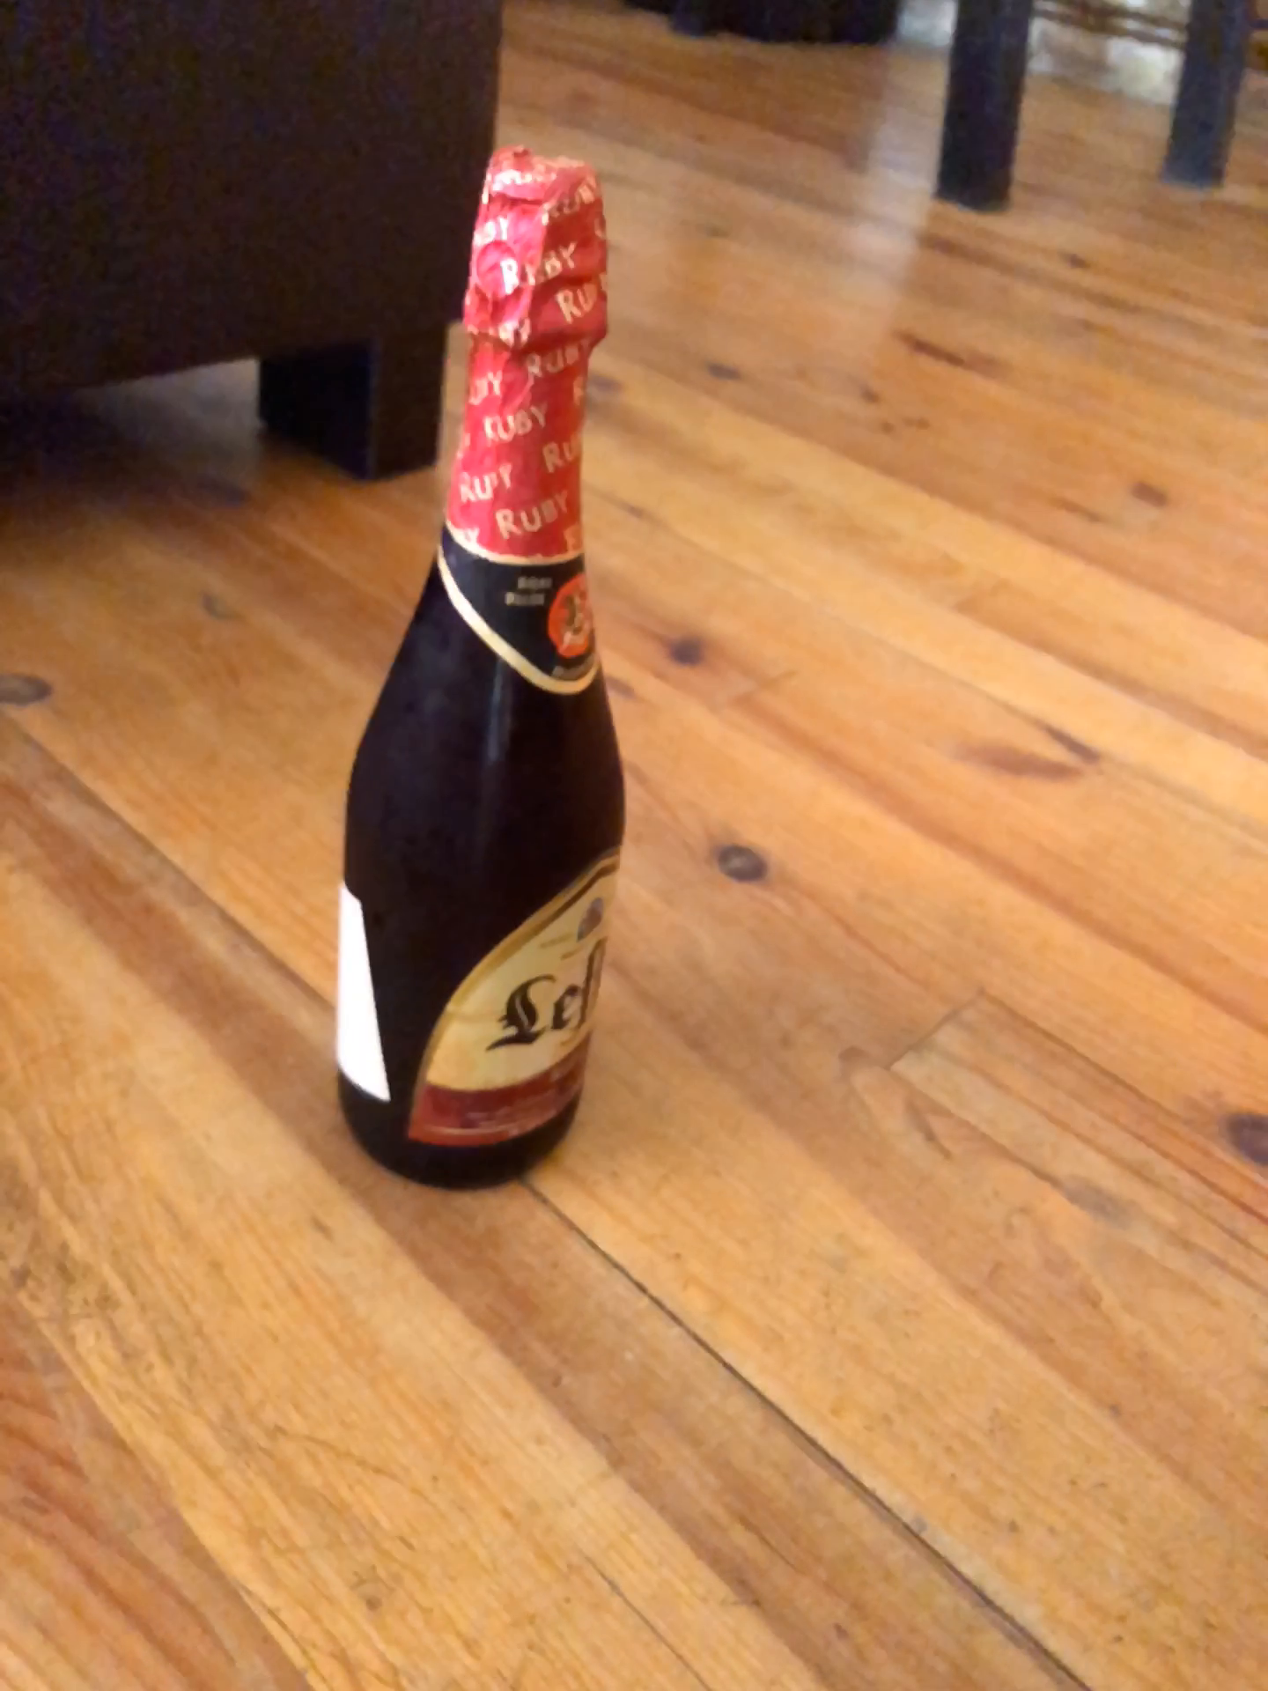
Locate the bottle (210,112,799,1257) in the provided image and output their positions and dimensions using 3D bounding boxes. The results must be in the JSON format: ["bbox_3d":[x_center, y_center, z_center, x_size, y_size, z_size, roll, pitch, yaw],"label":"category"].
[{"bbox_3d":[-0.044,-0.031,0.388,0.090,0.288,0.091,6,36,-4],"label":"bottle"}]
